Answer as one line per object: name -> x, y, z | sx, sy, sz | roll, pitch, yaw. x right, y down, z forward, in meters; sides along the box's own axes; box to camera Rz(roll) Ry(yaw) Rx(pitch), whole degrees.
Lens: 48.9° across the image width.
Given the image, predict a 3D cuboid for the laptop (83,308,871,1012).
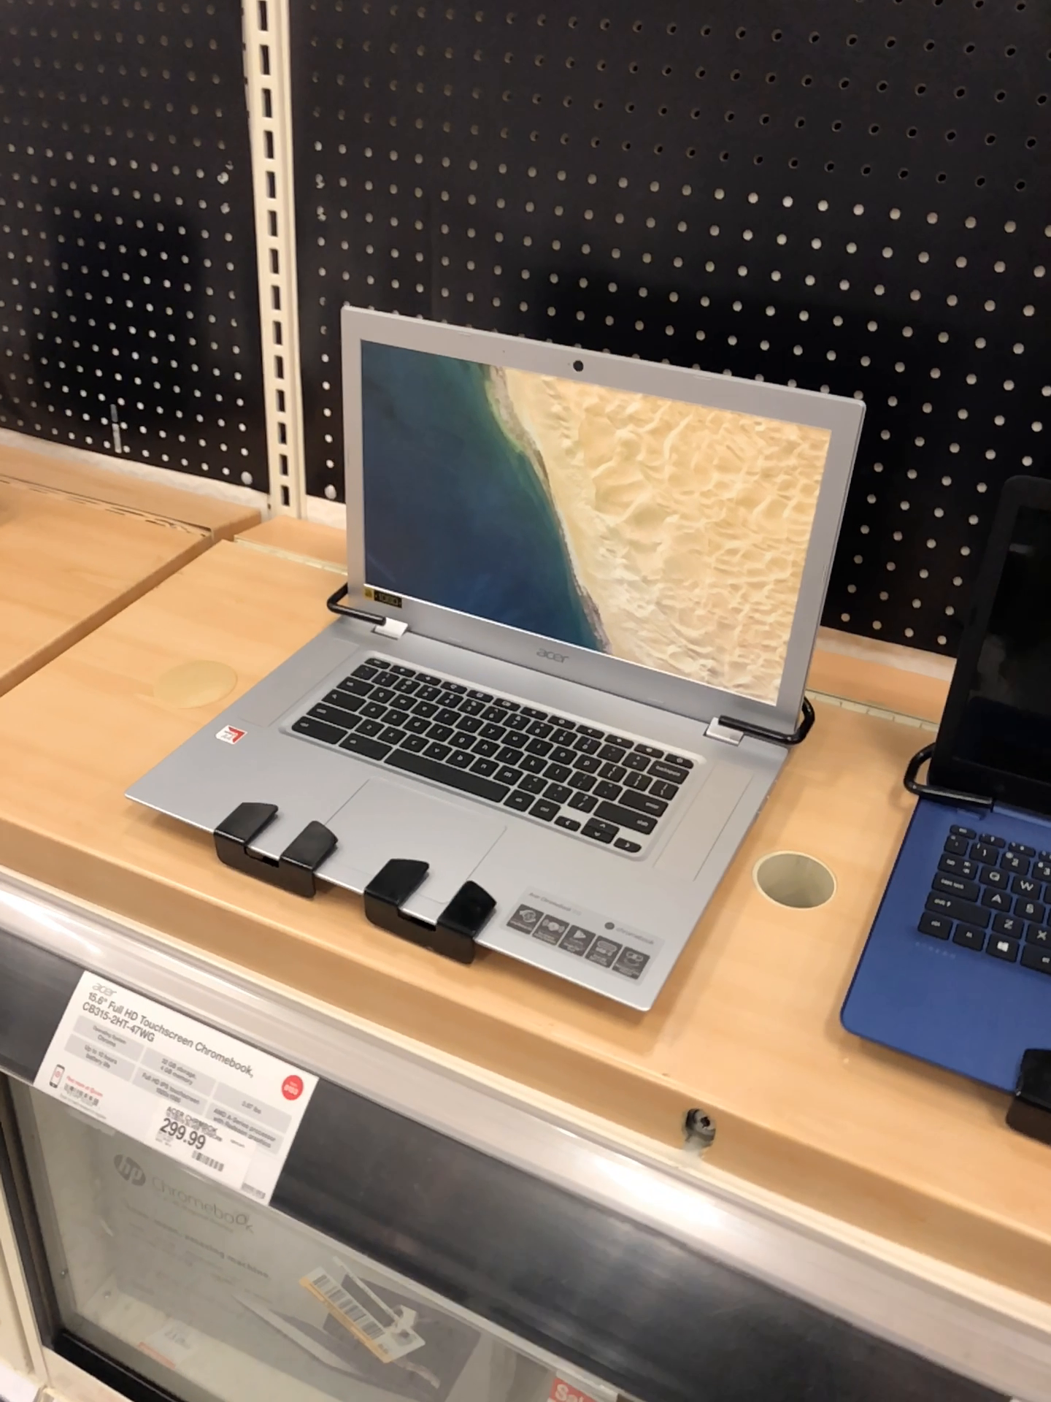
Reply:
laptop -> -0.025, -0.062, 0.739 | 0.371, 0.246, 0.287 | 17, 35, 23
